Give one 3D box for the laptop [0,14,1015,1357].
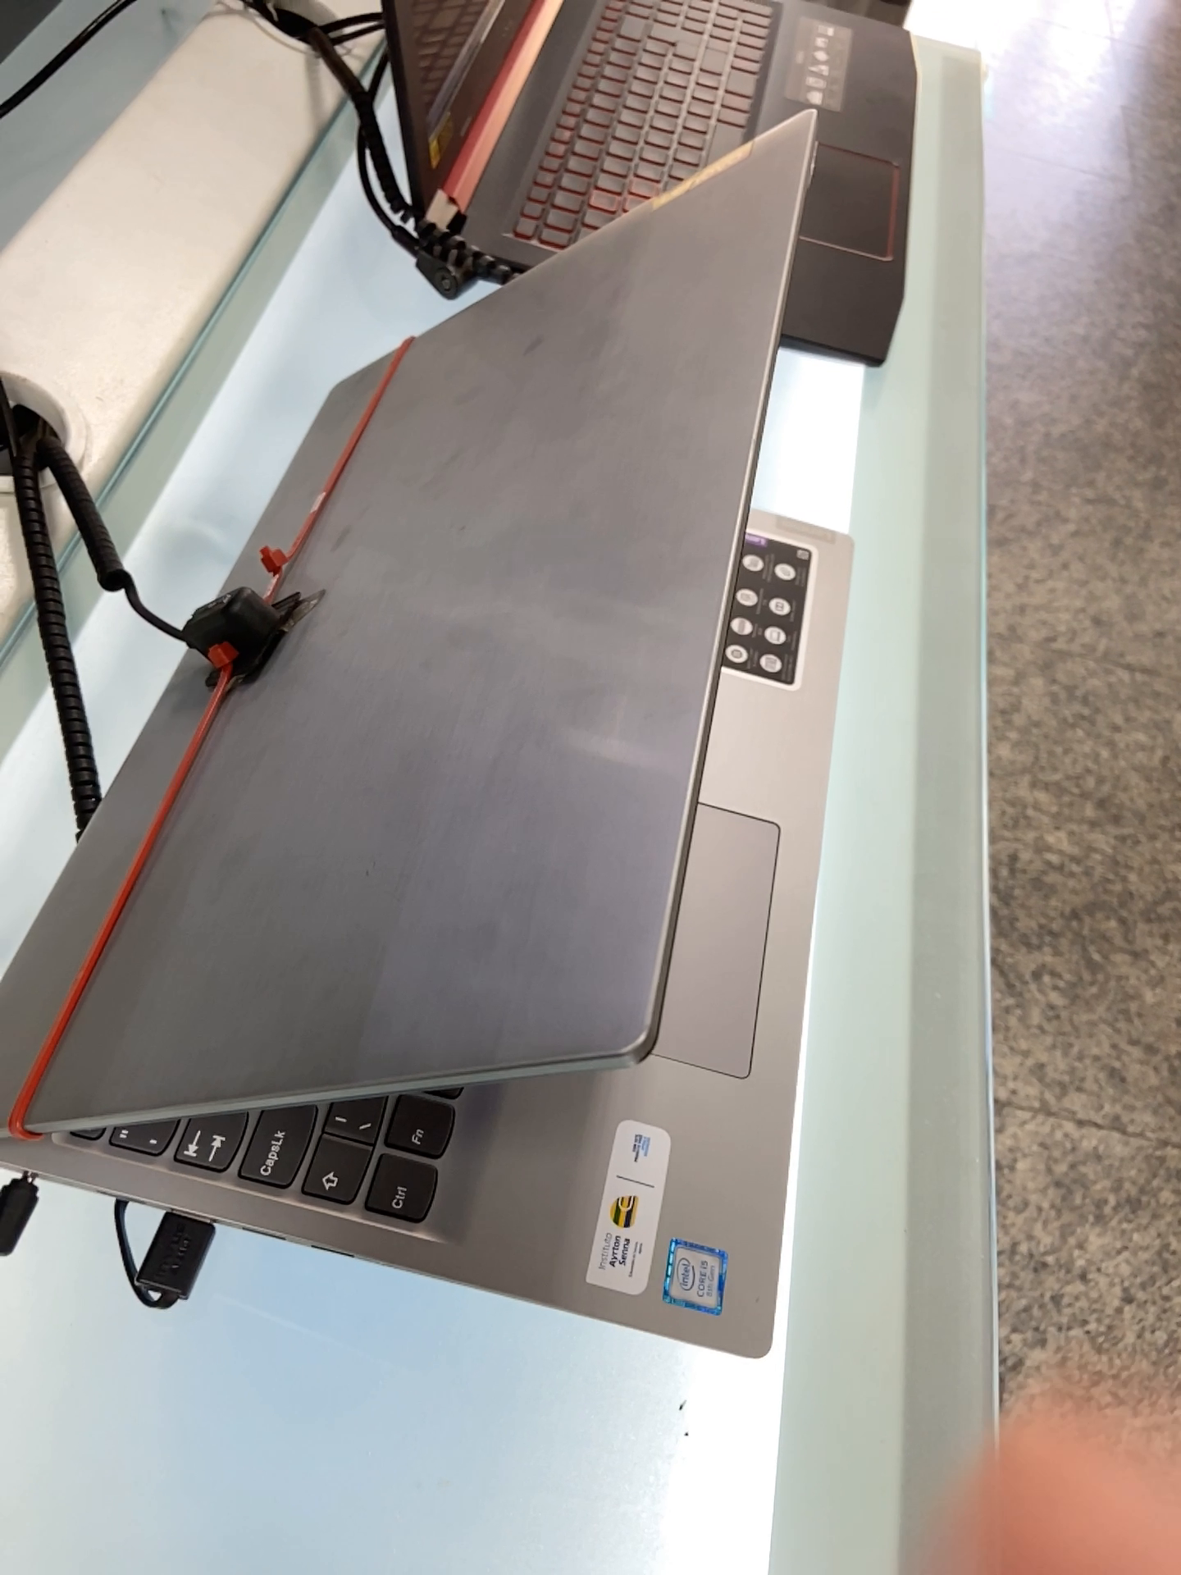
[{"bbox_3d":[-0.020,-0.055,0.393,0.246,0.167,0.362,15,53,-1],"label":"laptop"}]
